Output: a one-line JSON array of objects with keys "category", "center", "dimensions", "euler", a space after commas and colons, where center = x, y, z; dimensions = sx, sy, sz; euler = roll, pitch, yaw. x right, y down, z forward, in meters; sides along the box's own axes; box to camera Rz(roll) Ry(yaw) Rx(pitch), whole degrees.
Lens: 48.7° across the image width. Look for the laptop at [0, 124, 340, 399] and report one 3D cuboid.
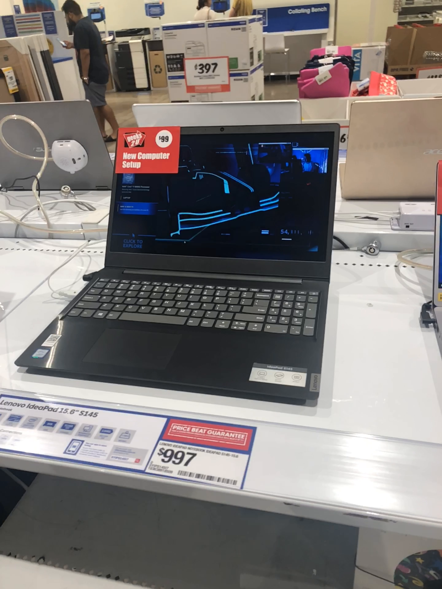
[{"category": "laptop", "center": [-0.034, -0.082, 0.644], "dimensions": [0.352, 0.192, 0.374], "euler": [3, 31, 13]}]
